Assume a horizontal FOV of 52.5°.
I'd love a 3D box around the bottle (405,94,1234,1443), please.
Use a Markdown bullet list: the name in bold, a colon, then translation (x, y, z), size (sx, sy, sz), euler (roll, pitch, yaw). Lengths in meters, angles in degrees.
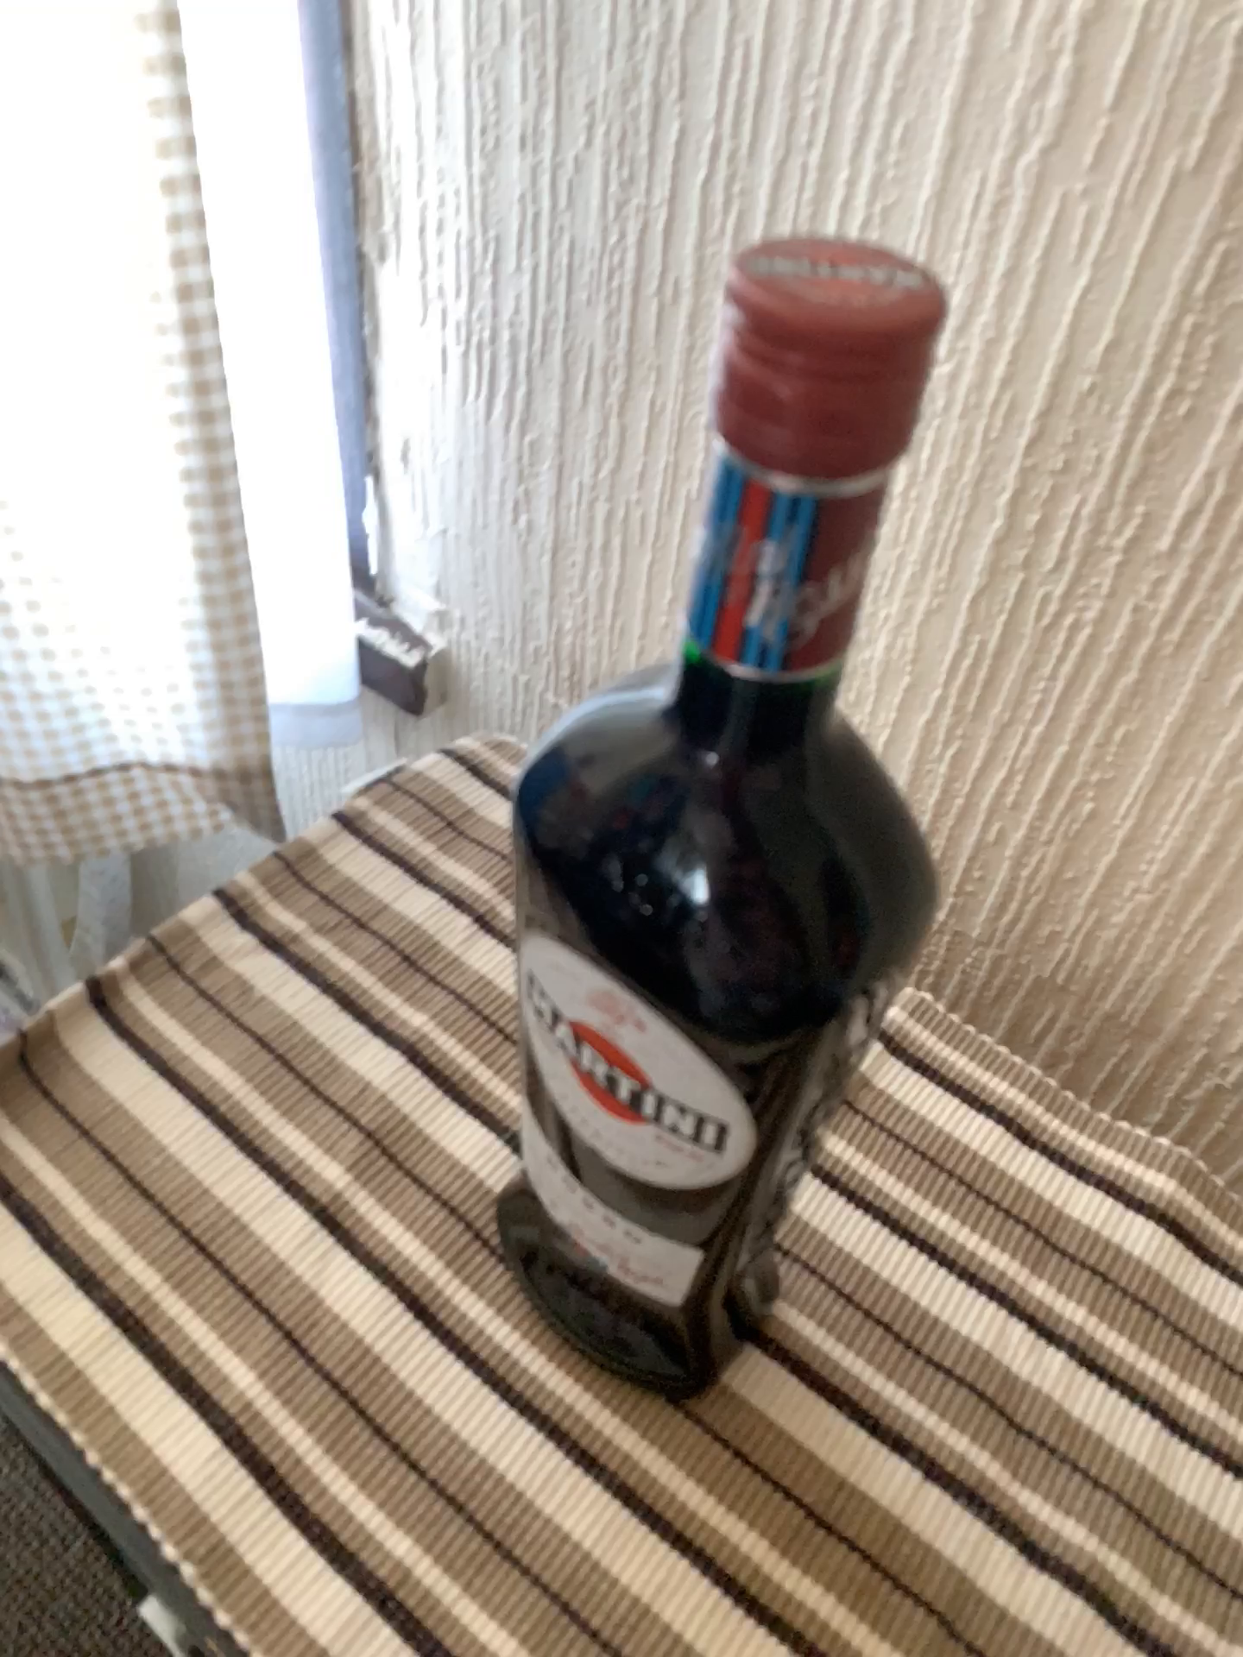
- **bottle**: translation (0.012, 0.025, 0.270), size (0.090, 0.297, 0.060), euler (35, 52, 24)
